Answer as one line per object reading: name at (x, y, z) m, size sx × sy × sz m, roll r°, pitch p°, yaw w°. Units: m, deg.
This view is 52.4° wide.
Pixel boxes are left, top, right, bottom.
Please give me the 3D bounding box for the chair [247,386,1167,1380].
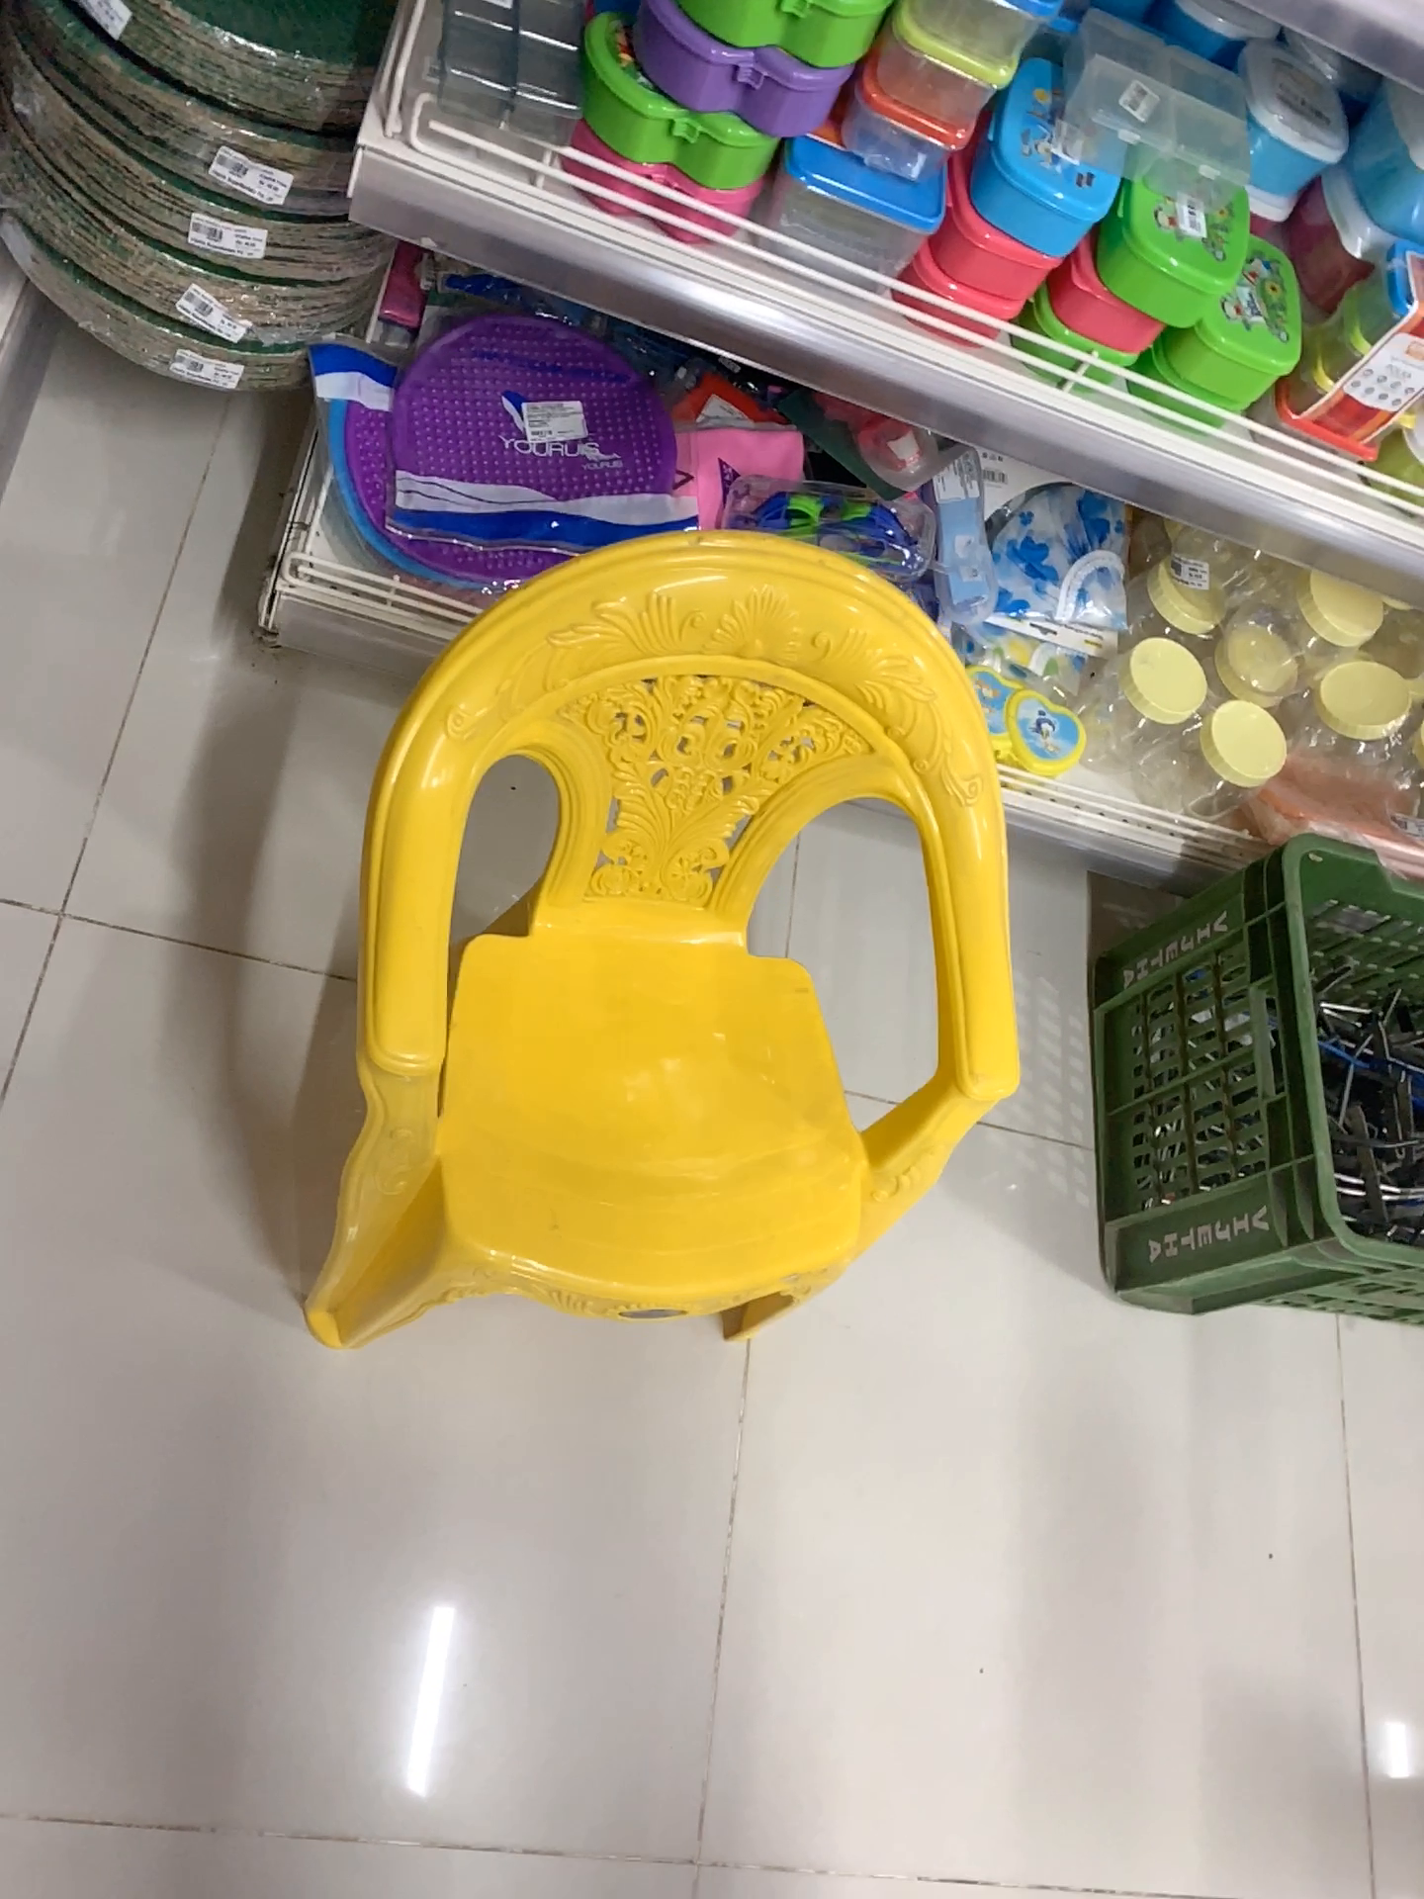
chair at (-0.052, 0.018, 0.937) m, size 0.421 × 0.449 × 0.460 m, roll 5°, pitch 68°, yaw -19°
